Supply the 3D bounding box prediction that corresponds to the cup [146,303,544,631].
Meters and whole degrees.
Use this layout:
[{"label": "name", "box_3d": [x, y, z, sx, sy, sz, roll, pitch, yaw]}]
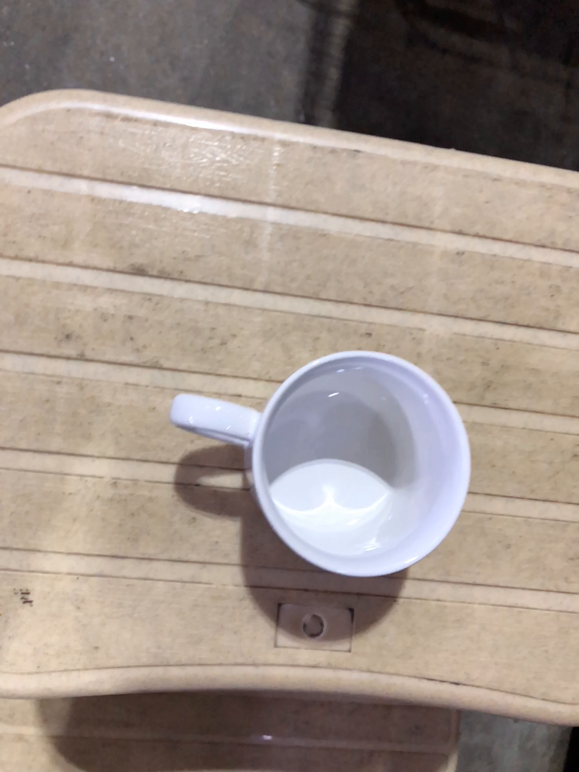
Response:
[{"label": "cup", "box_3d": [0.014, 0.026, 0.207, 0.100, 0.060, 0.070, 13, 82, -6]}]
